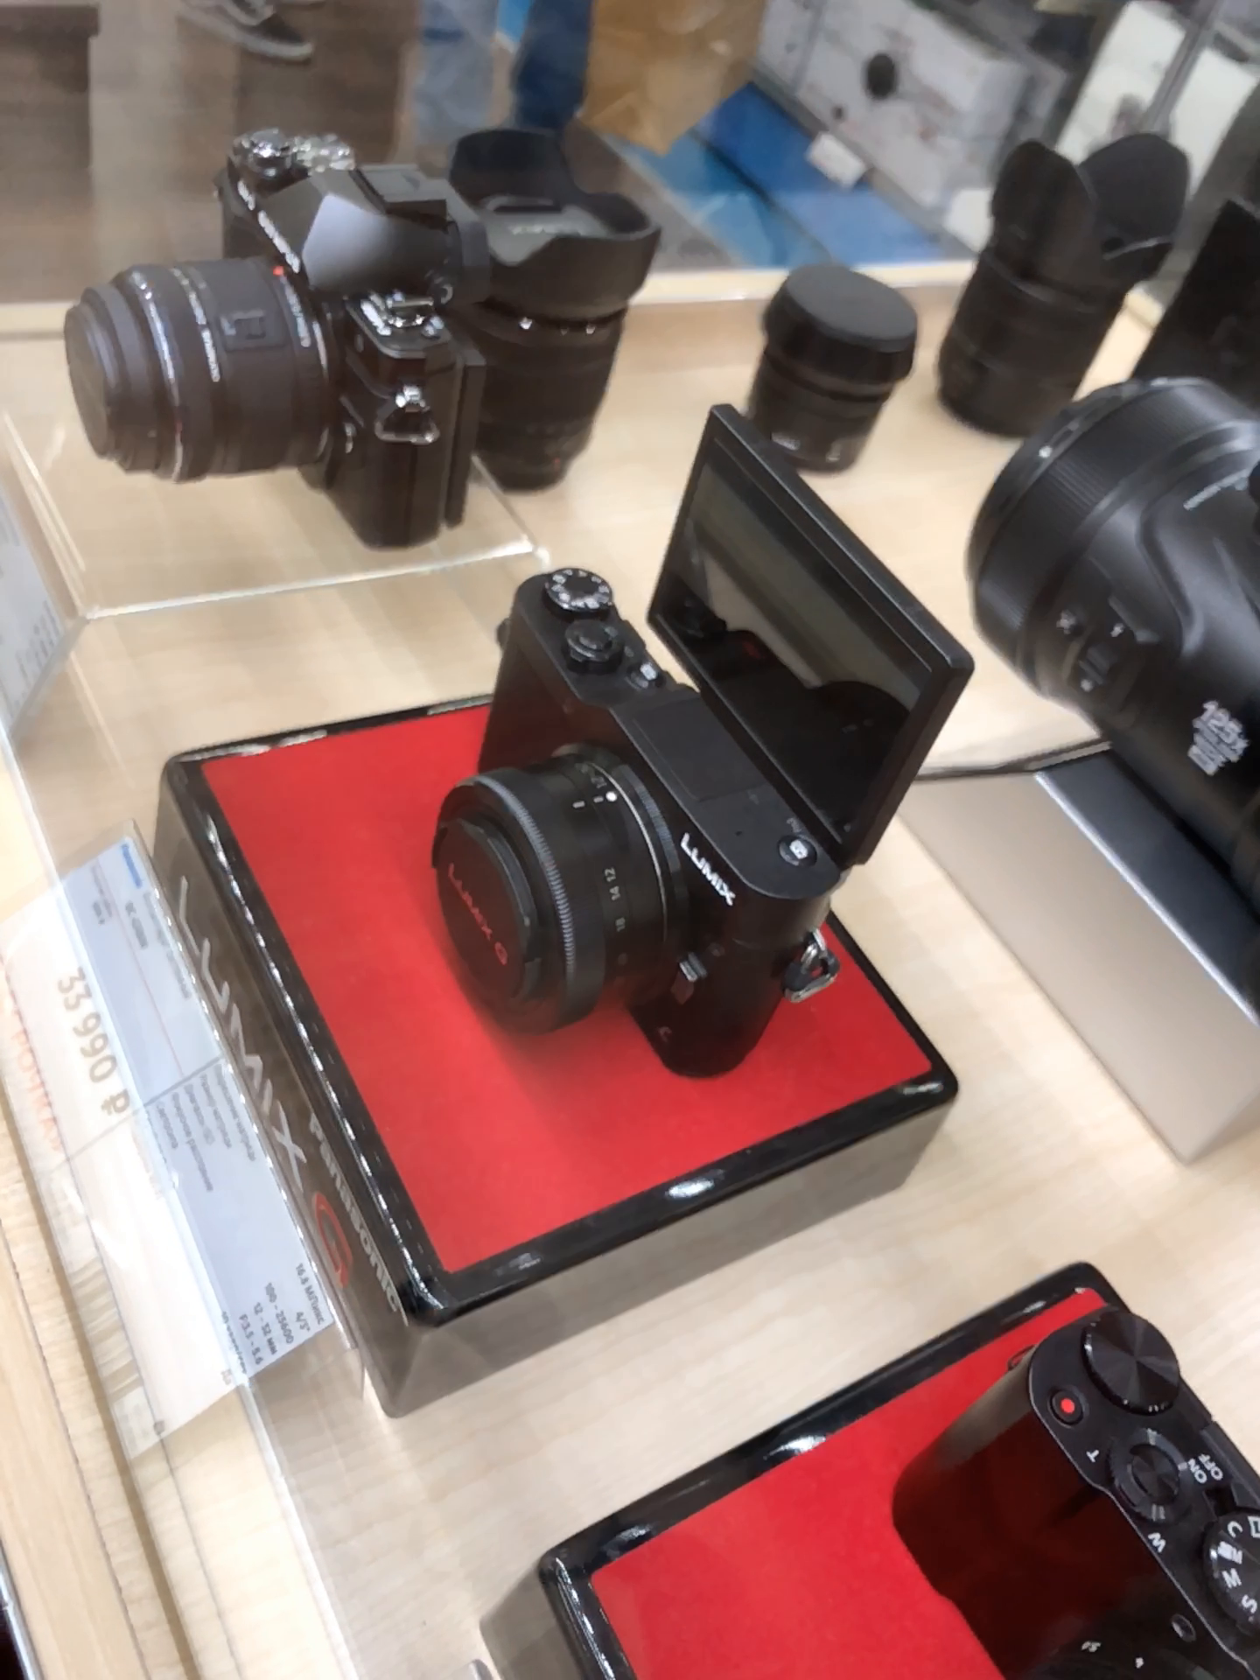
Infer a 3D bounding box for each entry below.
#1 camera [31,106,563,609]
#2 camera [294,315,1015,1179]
[{"bbox_3d":[-0.096,-0.137,0.392,0.103,0.080,0.108,-14,54,-29],"label":"camera"},{"bbox_3d":[-0.008,-0.019,0.283,0.070,0.120,0.108,-18,56,-32],"label":"camera"}]
